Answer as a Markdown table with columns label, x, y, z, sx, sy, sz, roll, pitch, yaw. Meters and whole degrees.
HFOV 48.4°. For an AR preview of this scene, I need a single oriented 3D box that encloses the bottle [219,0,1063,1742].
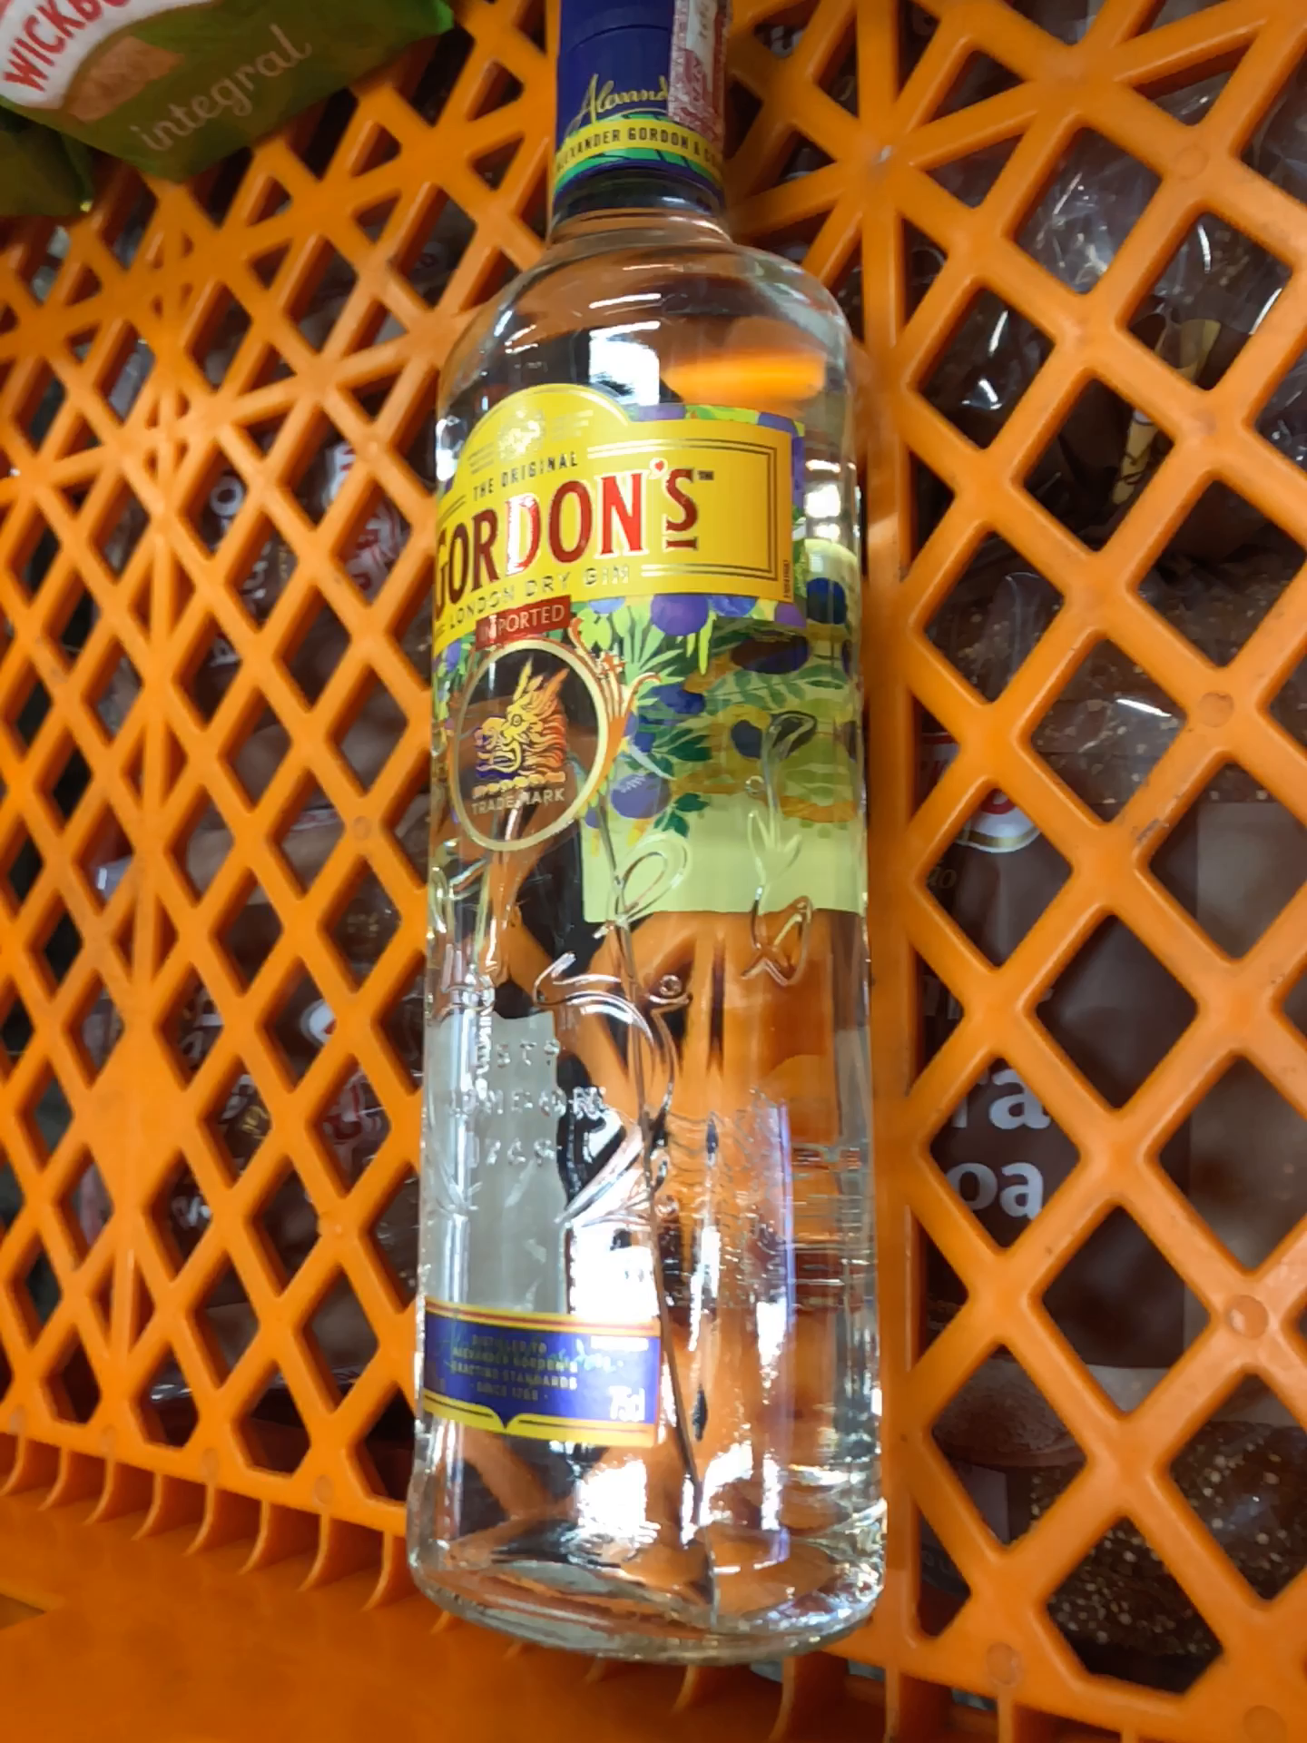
| label | x | y | z | sx | sy | sz | roll | pitch | yaw |
| --- | --- | --- | --- | --- | --- | --- | --- | --- | --- |
| bottle | 0.001 | -0.034 | 0.256 | 0.100 | 0.100 | 0.310 | -4 | 82 | 33 |
